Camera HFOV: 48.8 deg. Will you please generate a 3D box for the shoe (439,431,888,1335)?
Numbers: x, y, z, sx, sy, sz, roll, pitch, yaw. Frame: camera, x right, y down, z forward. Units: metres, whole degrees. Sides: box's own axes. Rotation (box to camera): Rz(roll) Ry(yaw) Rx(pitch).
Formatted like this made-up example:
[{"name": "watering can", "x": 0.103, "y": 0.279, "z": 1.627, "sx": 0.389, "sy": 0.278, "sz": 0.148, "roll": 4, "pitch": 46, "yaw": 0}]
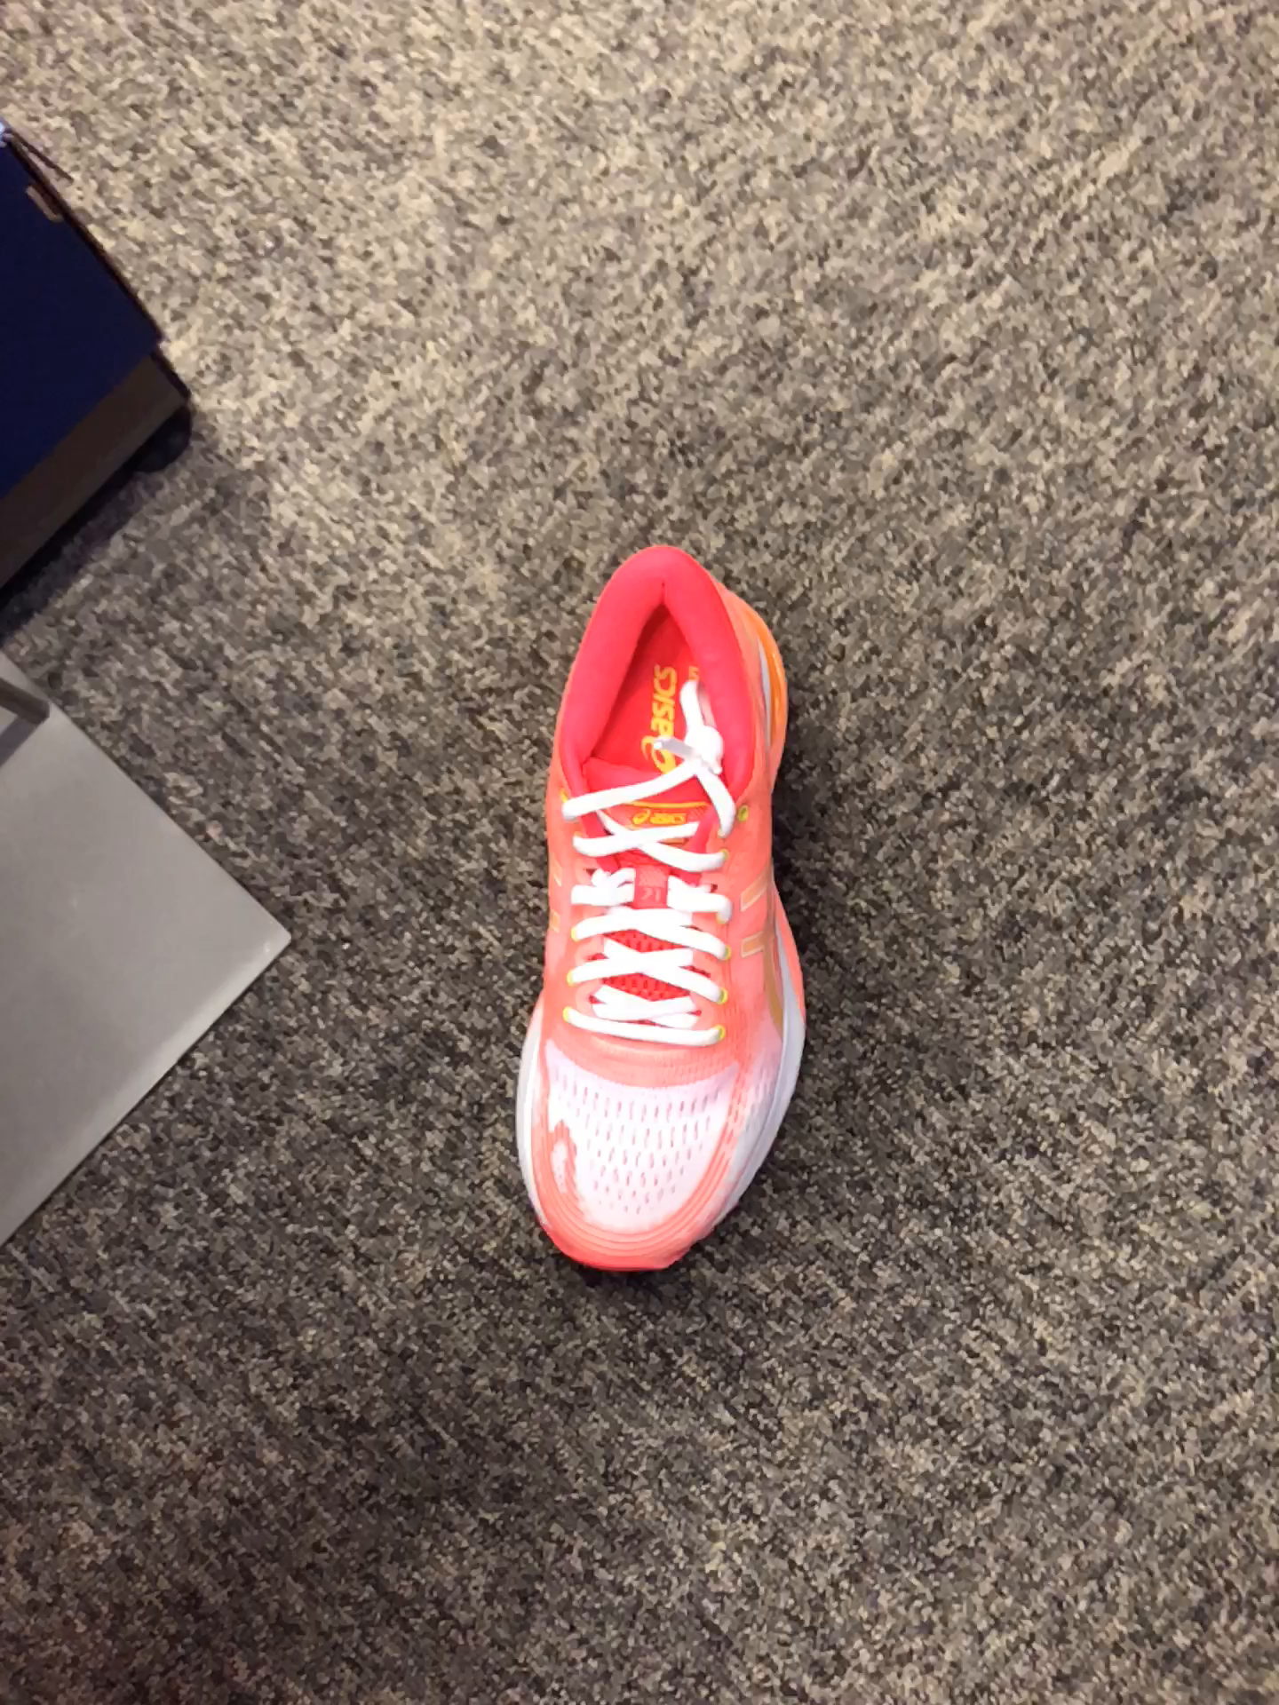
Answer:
[{"name": "shoe", "x": 0.016, "y": 0.012, "z": 0.491, "sx": 0.107, "sy": 0.130, "sz": 0.268, "roll": 6, "pitch": 80, "yaw": 6}]
